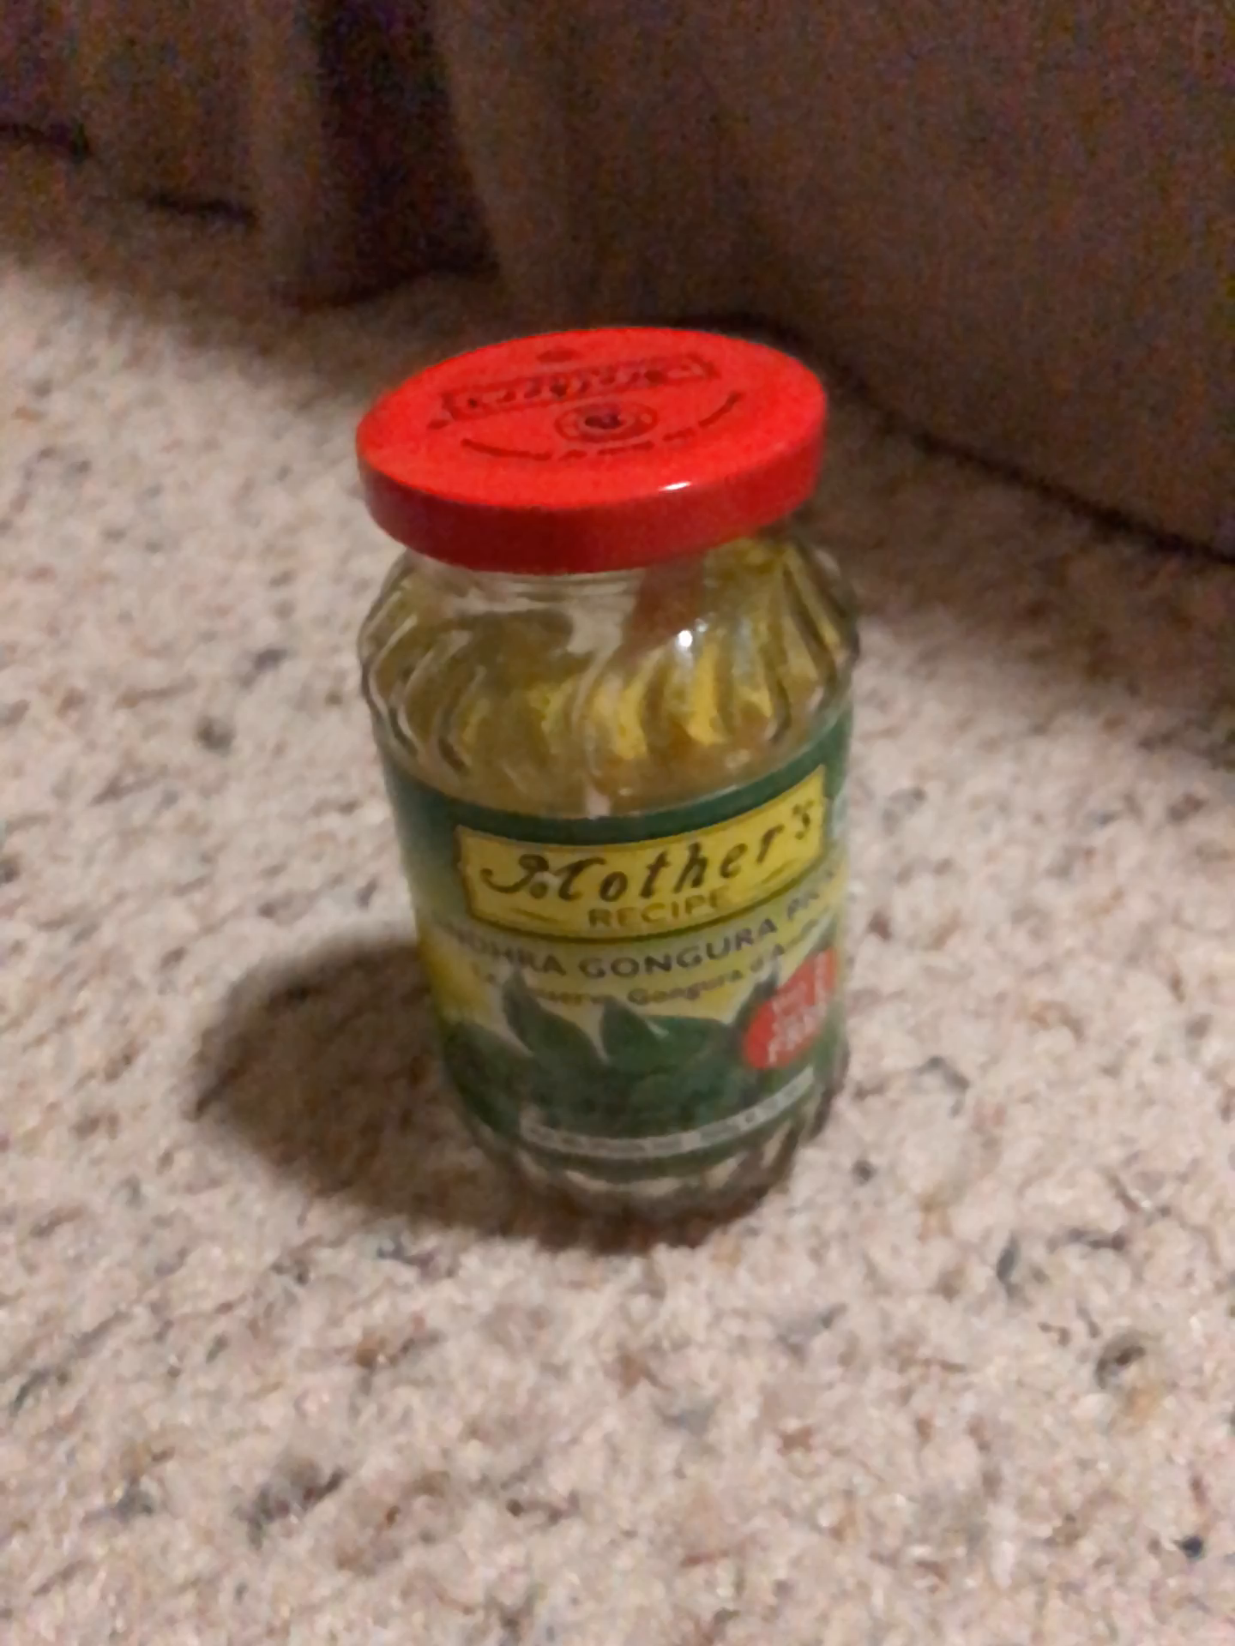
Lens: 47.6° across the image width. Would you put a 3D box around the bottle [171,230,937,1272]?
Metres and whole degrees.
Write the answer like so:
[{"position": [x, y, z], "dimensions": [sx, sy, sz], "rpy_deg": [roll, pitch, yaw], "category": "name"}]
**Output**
[{"position": [-0.007, -0.009, 0.187], "dimensions": [0.070, 0.110, 0.070], "rpy_deg": [-3, 38, 2], "category": "bottle"}]
